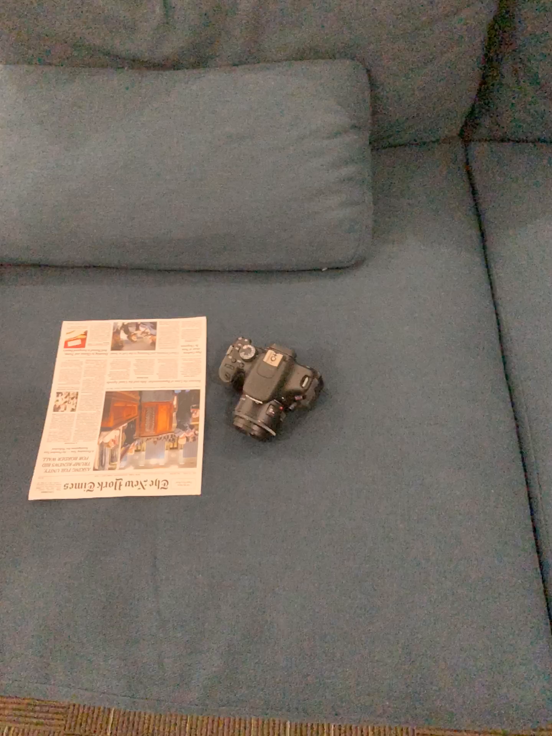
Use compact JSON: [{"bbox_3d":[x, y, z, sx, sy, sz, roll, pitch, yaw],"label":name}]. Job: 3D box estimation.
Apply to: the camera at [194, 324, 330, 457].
[{"bbox_3d":[-0.013,0.031,0.722,0.120,0.100,0.108,24,77,18],"label":"camera"}]
